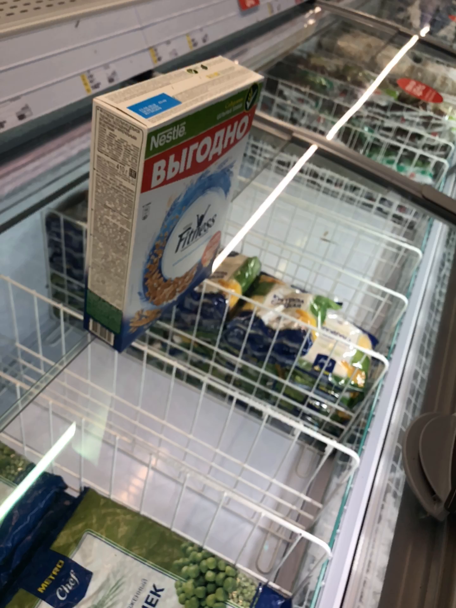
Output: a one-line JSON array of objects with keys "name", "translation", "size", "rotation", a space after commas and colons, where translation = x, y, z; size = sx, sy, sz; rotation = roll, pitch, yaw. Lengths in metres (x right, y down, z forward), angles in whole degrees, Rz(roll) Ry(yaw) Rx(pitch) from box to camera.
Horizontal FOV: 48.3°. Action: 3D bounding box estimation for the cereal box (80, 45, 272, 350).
[{"name": "cereal box", "translation": [-0.061, -0.109, 0.543], "size": [0.060, 0.268, 0.201], "rotation": [31, 45, 15]}]
